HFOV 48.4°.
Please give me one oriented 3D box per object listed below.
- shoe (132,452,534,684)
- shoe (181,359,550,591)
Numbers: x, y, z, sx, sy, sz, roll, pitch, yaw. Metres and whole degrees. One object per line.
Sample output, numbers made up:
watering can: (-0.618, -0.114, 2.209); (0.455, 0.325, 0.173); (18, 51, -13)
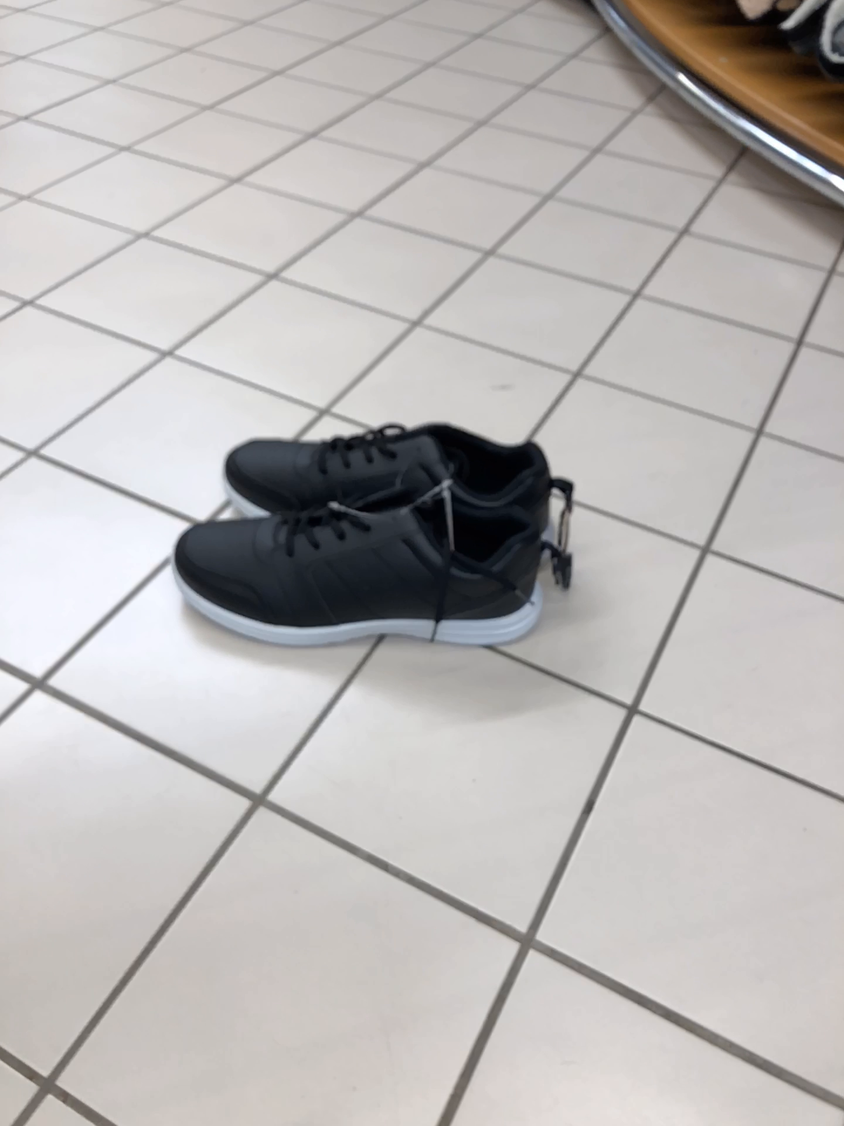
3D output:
shoe: (-0.063, 0.004, 0.756); (0.290, 0.119, 0.111); (5, 45, 1)
shoe: (-0.044, -0.079, 0.825); (0.290, 0.119, 0.111); (9, 45, 5)
